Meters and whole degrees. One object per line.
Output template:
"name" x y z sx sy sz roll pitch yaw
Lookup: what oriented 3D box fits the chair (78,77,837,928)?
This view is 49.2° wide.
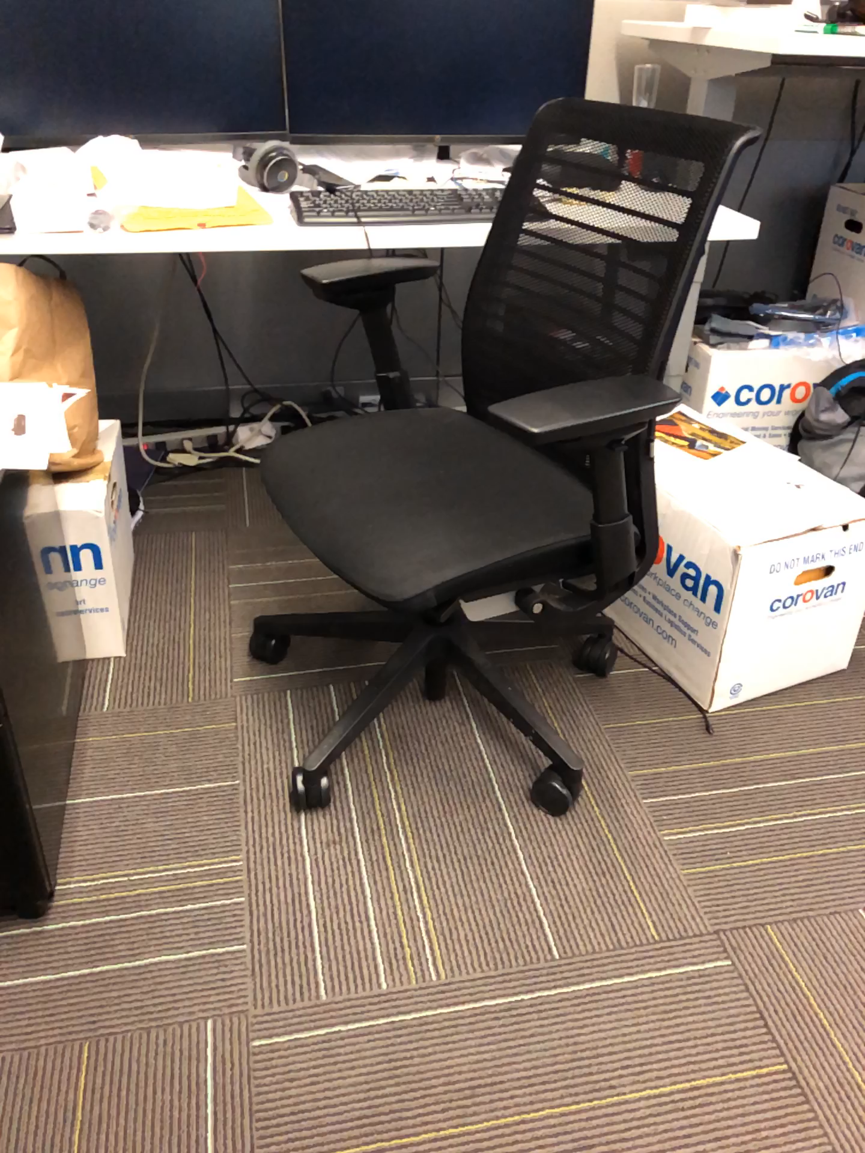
"chair" -0.032 -0.200 1.508 0.701 0.994 0.783 -16 35 -26
